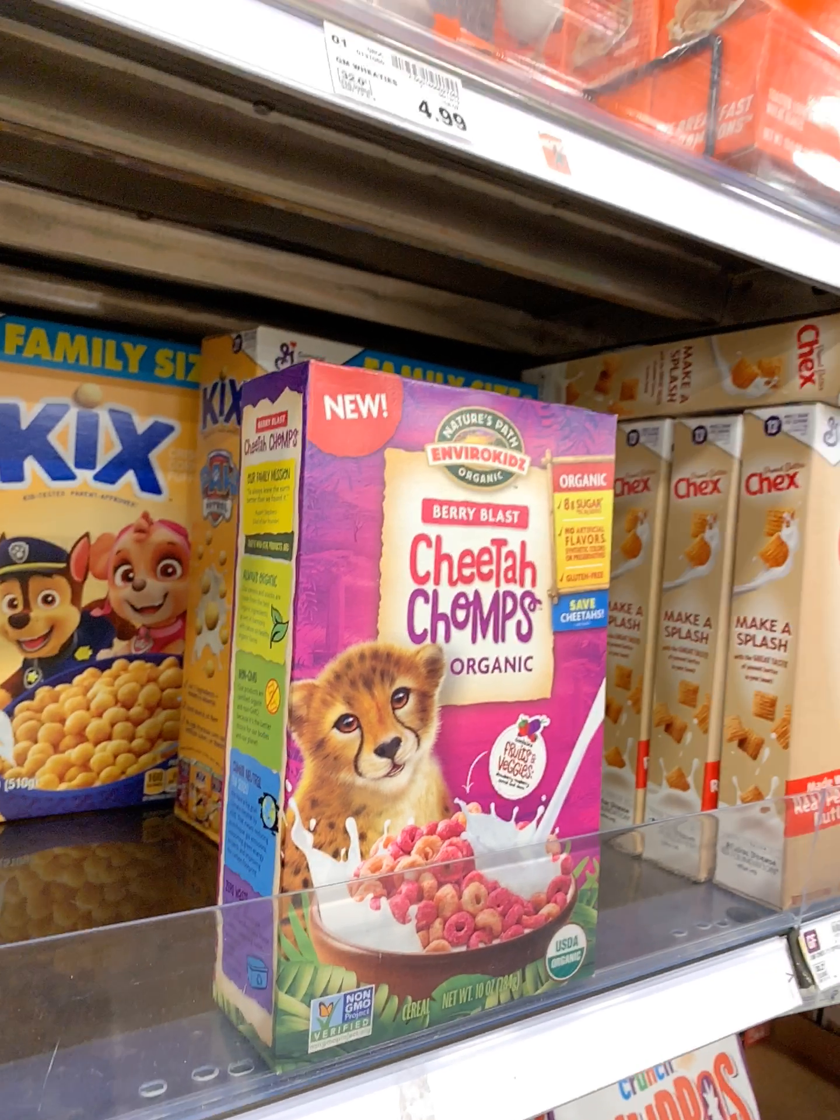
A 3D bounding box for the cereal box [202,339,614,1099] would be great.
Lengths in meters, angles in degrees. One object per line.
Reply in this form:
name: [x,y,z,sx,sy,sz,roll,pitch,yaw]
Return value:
cereal box: [0.000,0.058,0.379,0.160,0.270,0.060,3,-1,-33]
